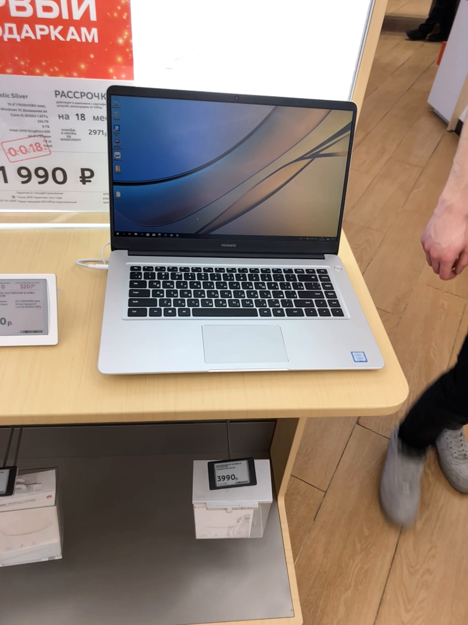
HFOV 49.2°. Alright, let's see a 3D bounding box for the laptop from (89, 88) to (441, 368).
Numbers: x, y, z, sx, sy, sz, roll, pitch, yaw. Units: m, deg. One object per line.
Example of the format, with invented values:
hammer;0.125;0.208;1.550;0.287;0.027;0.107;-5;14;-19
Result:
laptop;0.012;-0.116;0.660;0.340;0.204;0.307;0;42;-10
